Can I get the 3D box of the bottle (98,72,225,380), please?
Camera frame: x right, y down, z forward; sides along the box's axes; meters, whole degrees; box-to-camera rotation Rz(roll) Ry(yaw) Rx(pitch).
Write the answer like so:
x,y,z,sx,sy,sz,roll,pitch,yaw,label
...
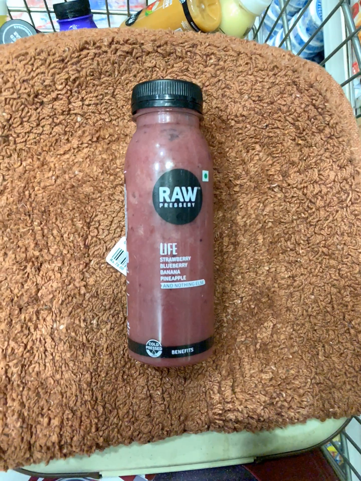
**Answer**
x,y,z,sx,sy,sz,roll,pitch,yaw,label
-0.013,-0.008,0.213,0.060,0.050,0.150,-2,93,-14,bottle
